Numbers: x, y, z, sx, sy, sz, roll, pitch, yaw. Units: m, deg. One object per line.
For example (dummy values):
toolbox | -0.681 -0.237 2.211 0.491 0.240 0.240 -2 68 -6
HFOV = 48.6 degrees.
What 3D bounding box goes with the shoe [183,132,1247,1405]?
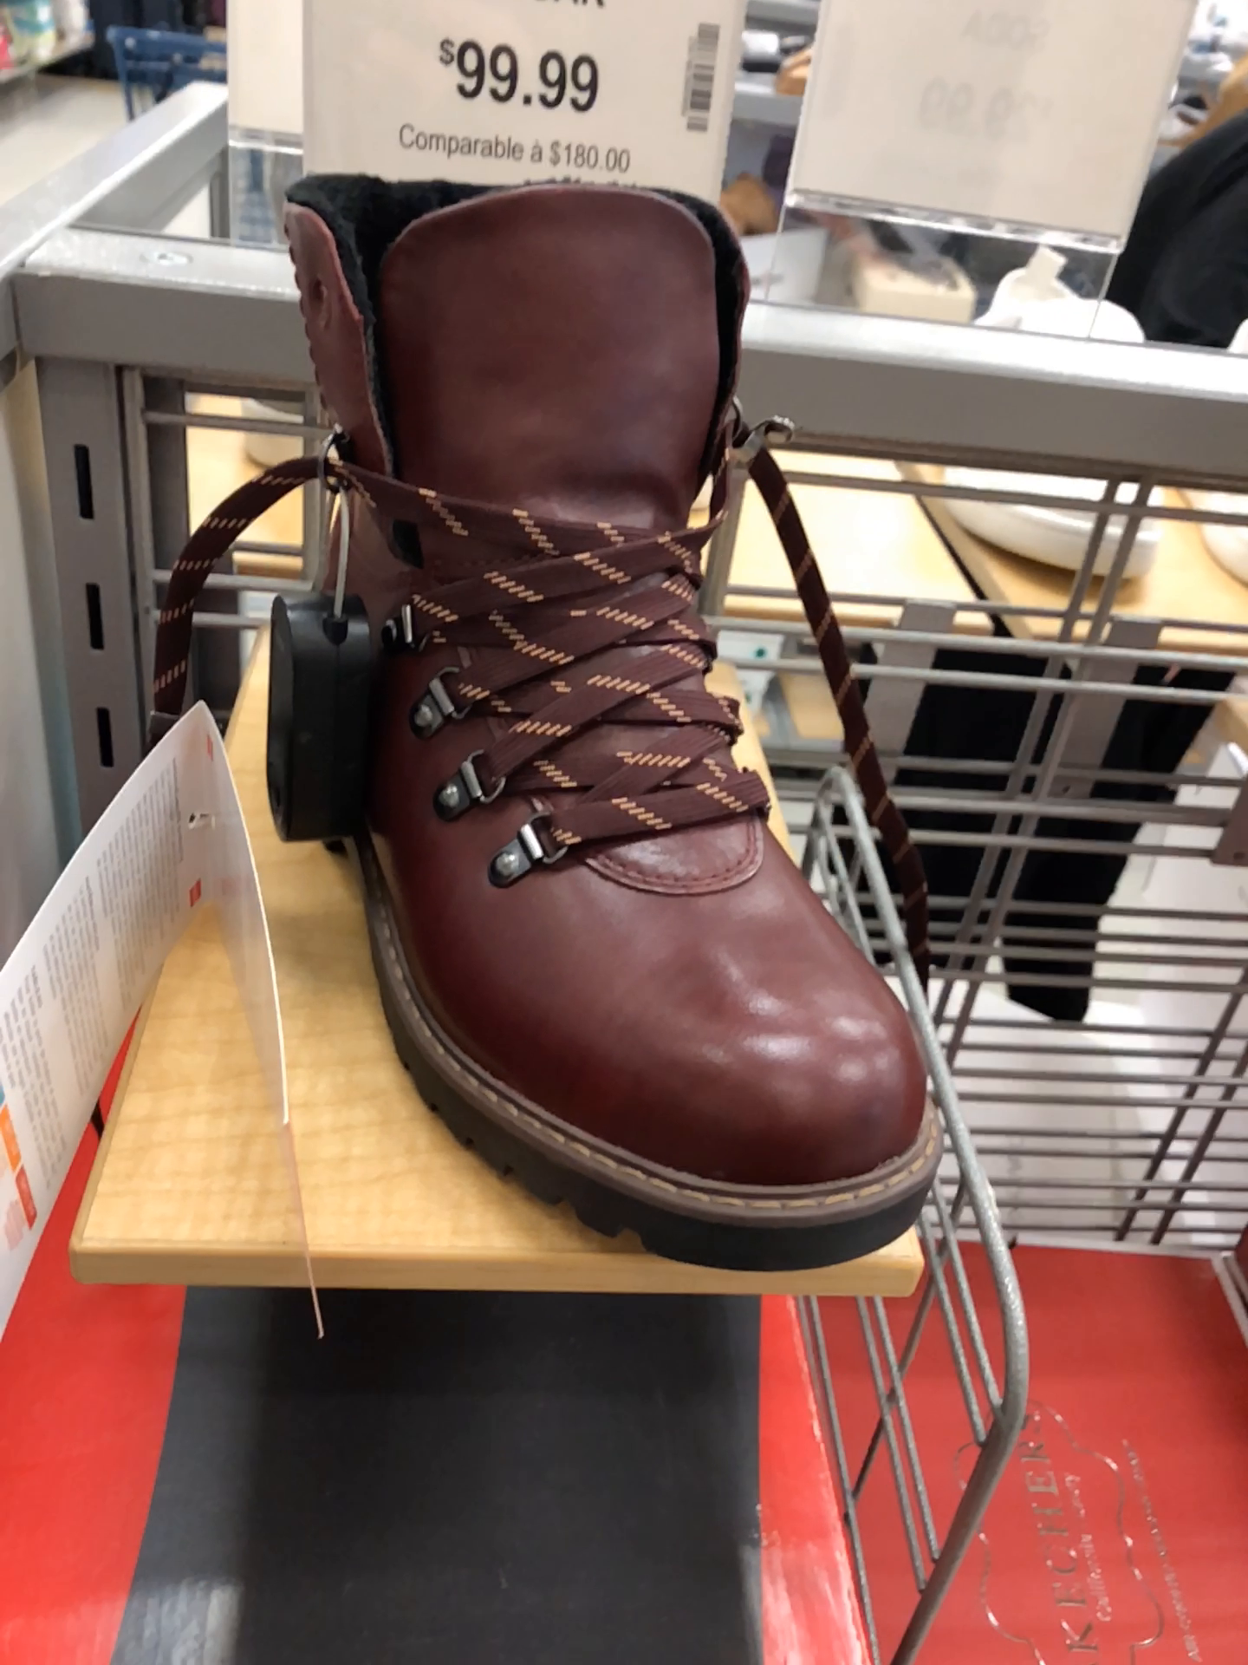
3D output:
shoe | -0.009 -0.038 0.309 0.107 0.169 0.231 -12 39 -29
